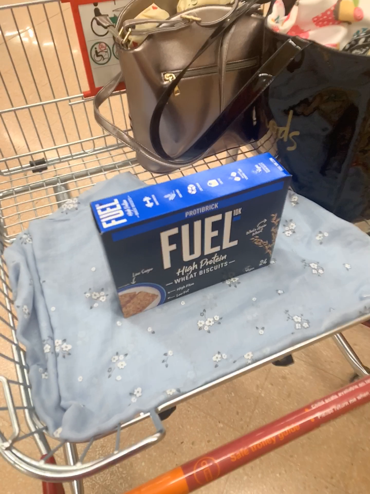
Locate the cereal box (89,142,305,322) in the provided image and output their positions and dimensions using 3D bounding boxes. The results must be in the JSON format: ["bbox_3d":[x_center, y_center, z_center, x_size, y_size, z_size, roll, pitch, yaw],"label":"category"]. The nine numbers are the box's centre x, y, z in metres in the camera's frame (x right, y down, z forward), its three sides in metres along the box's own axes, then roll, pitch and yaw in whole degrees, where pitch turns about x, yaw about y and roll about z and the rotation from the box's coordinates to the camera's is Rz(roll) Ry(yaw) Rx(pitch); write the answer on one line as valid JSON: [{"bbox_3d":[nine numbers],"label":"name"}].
[{"bbox_3d":[0.016,-0.013,0.521,0.250,0.208,0.060,-18,54,-15],"label":"cereal box"}]
